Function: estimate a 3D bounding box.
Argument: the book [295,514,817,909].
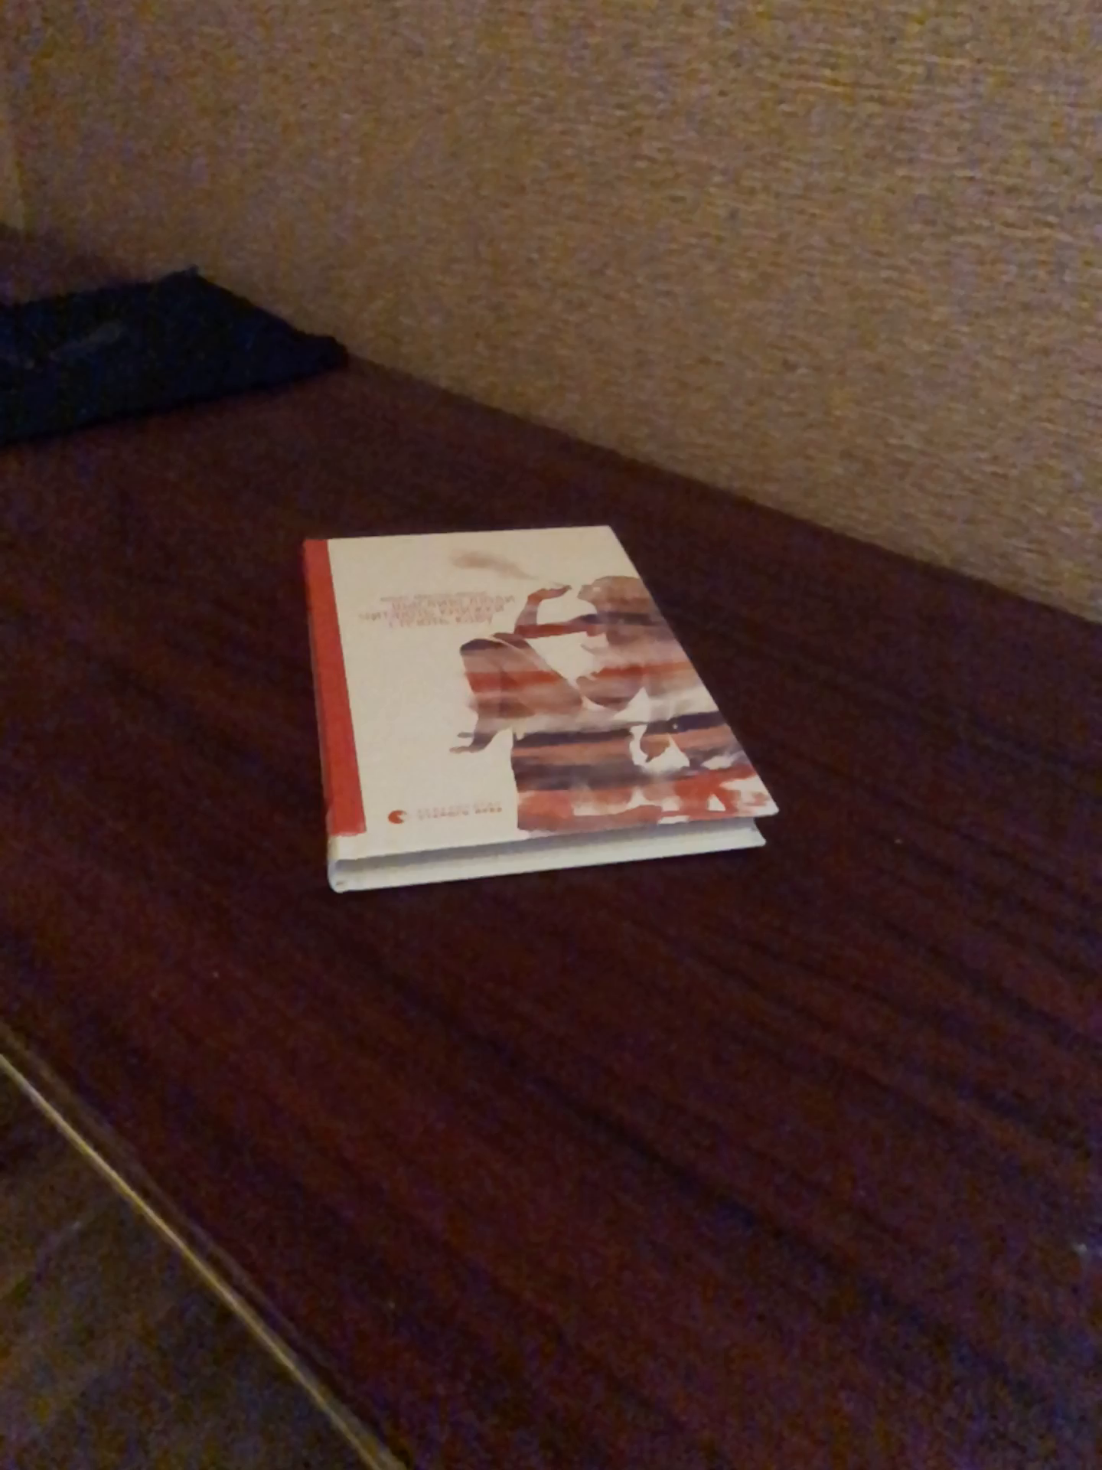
[{"bbox_3d":[-0.015,-0.026,0.461,0.150,0.020,0.229,-4,35,-12],"label":"book"}]
